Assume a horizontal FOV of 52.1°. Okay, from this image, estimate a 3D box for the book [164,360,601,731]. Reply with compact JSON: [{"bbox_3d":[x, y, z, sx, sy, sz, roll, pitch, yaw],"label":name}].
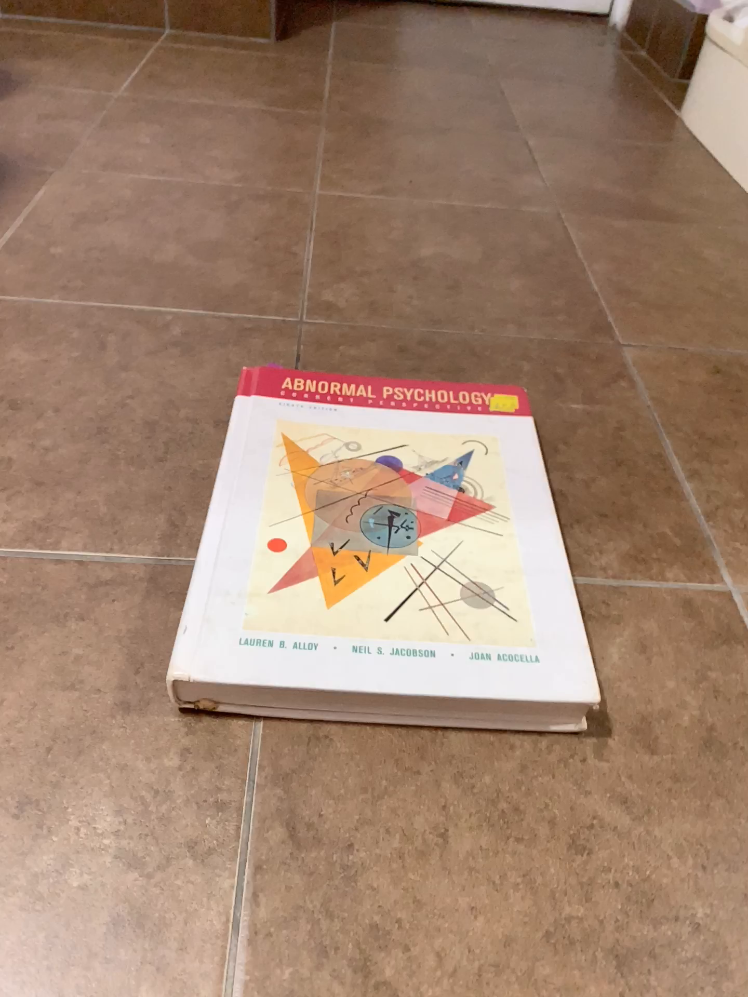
[{"bbox_3d":[0.005,0.009,0.505,0.222,0.032,0.290,4,42,-3],"label":"book"}]
